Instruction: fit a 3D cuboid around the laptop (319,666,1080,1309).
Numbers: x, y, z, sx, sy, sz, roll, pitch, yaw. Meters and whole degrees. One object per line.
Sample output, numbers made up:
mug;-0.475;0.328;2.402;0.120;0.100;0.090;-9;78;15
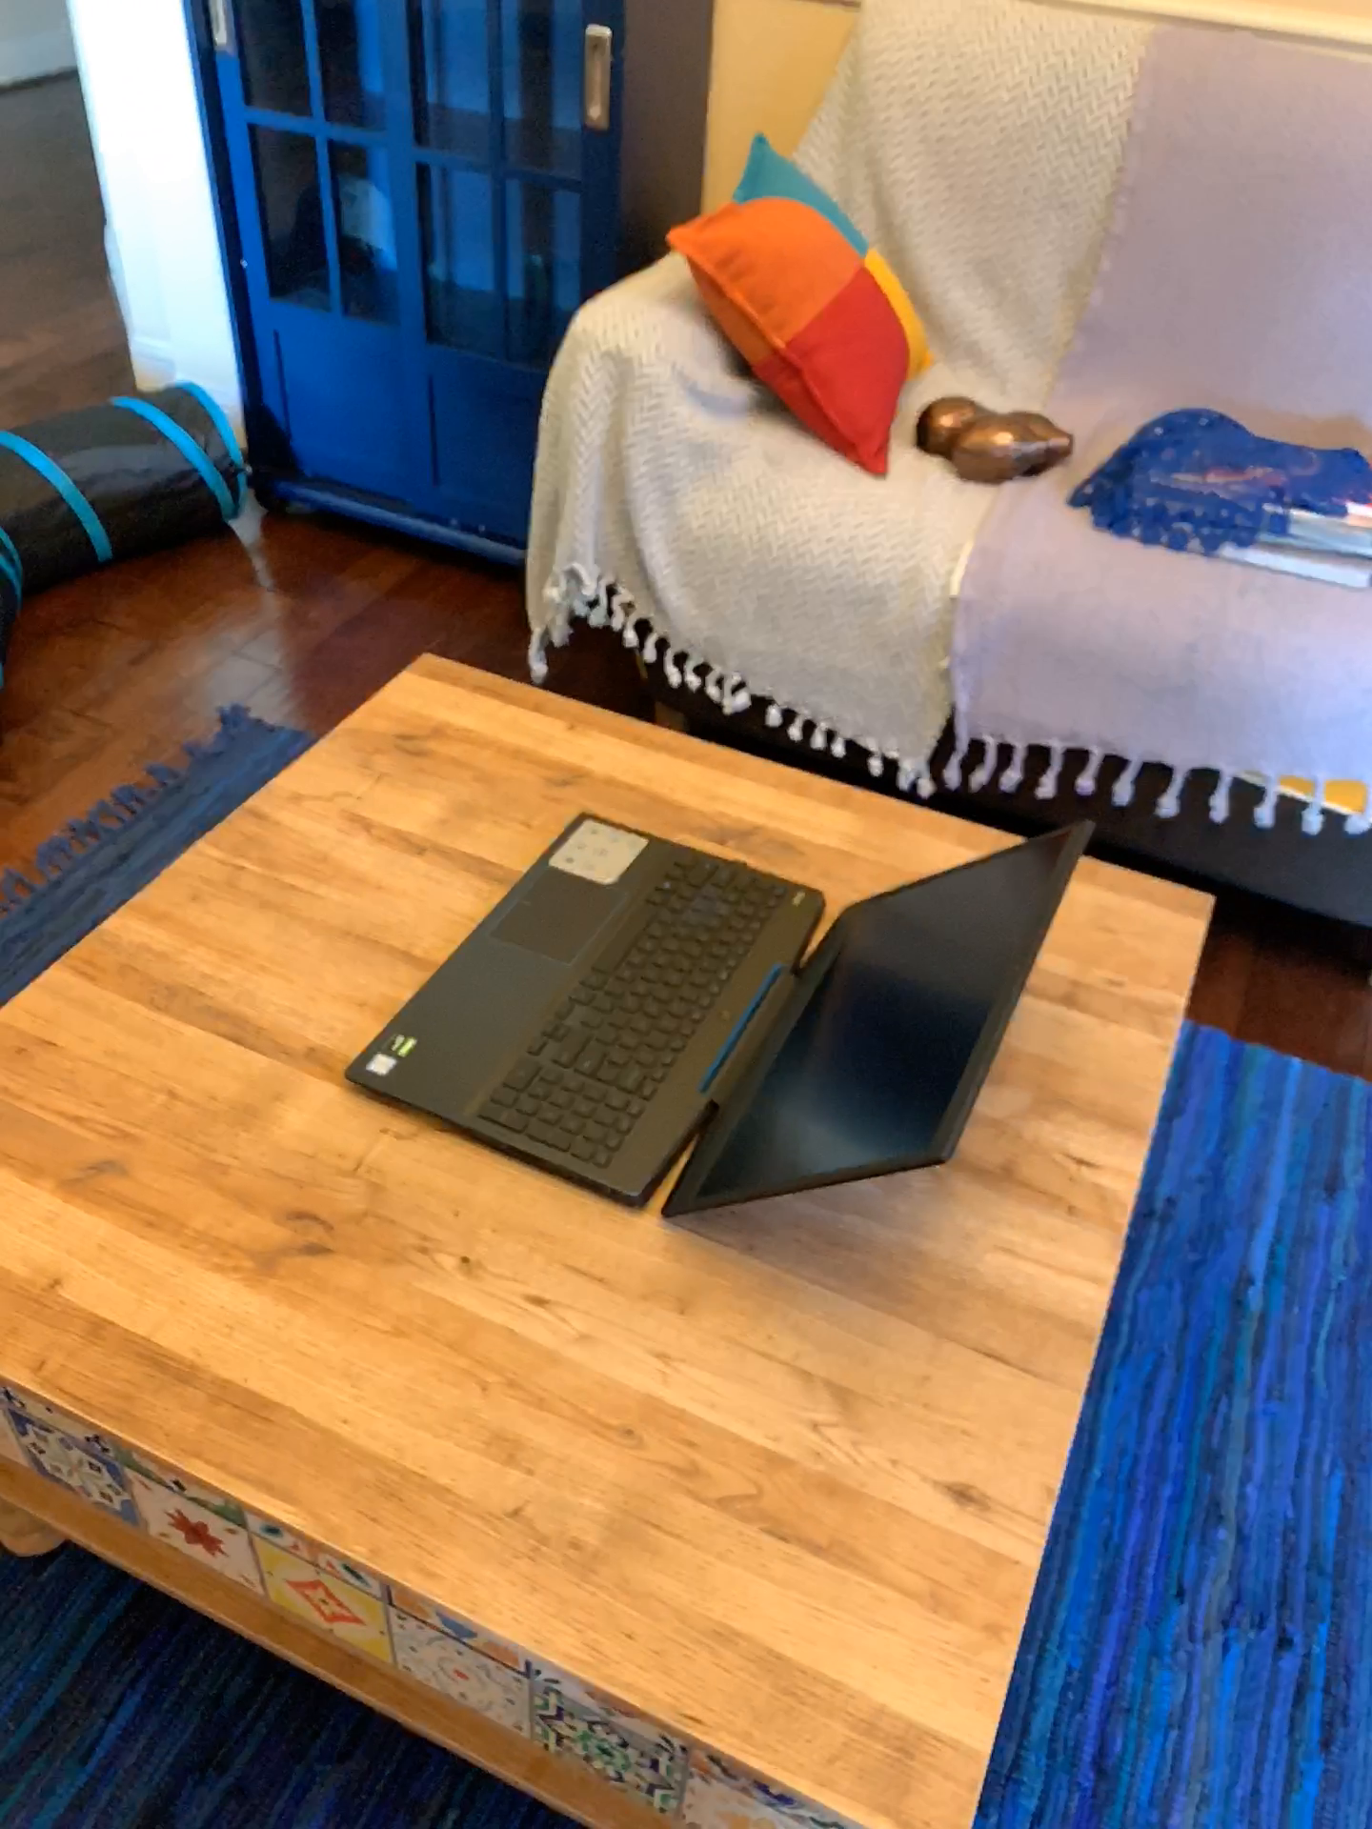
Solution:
laptop;0.022;0.023;1.020;0.418;0.156;0.347;20;43;16
